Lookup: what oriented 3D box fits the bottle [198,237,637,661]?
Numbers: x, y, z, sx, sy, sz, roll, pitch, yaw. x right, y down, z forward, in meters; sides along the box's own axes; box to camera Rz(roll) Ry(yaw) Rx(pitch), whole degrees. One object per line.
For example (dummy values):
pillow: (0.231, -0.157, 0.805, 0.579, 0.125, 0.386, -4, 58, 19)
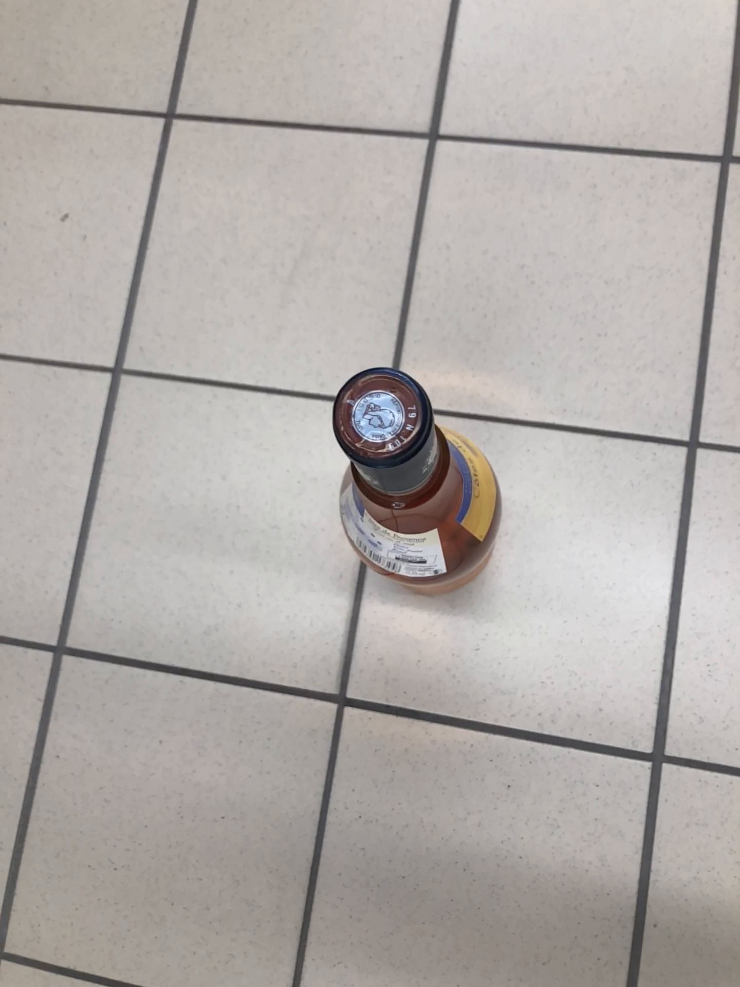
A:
bottle: (0.031, 0.010, 0.381, 0.090, 0.320, 0.080, 38, 87, 11)
